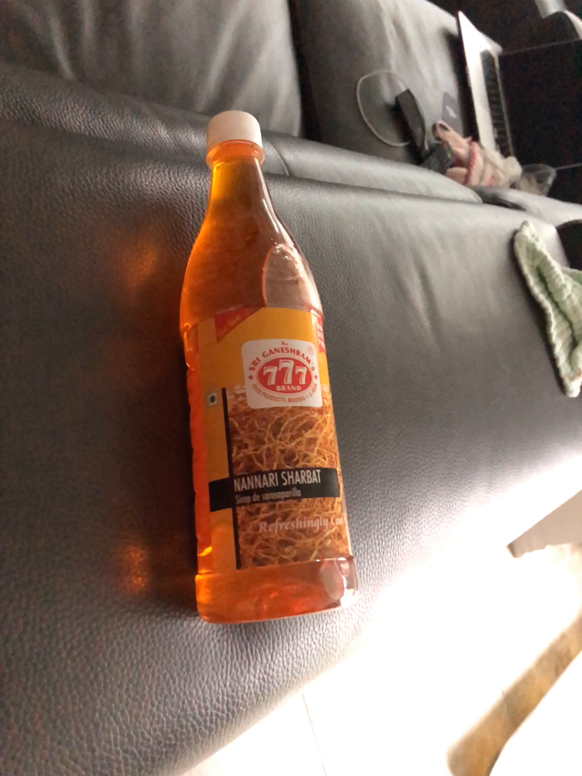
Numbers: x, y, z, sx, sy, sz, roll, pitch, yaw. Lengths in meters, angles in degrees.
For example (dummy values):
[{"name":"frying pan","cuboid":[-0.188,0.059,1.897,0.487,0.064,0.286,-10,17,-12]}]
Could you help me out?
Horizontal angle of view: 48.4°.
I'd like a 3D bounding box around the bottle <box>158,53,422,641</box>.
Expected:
[{"name":"bottle","cuboid":[-0.011,-0.024,0.336,0.080,0.070,0.280,2,71,-29]}]
